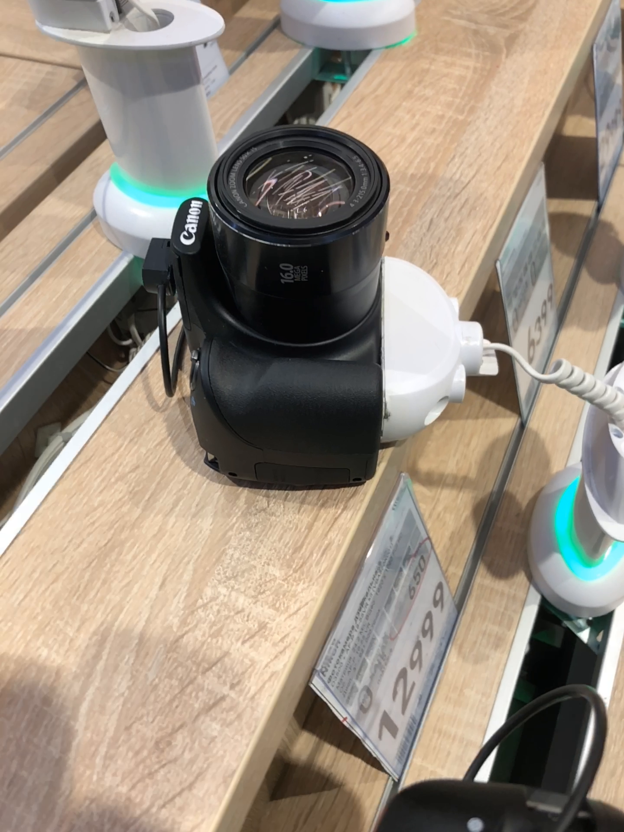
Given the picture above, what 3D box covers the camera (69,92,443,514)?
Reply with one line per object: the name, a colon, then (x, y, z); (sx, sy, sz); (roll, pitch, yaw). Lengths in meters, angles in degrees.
camera: (-0.014, -0.045, 0.272); (0.106, 0.090, 0.134); (3, 54, 1)
